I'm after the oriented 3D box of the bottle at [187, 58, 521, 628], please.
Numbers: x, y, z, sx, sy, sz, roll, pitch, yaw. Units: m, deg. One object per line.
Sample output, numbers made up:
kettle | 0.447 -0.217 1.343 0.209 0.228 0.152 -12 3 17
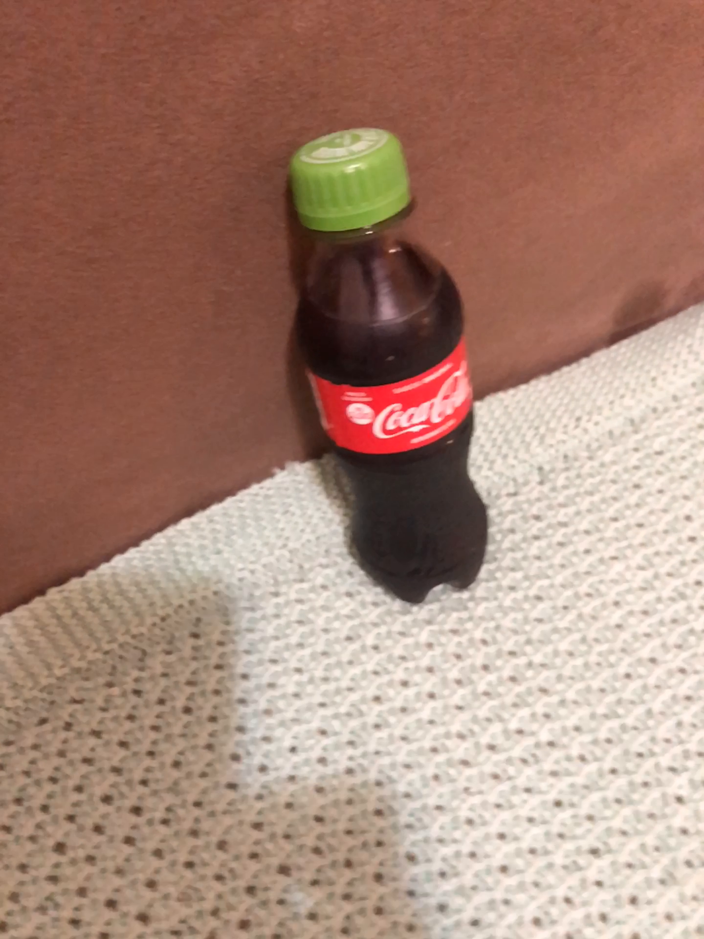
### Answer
bottle | 0.010 -0.033 0.263 0.060 0.169 0.060 -7 42 7
